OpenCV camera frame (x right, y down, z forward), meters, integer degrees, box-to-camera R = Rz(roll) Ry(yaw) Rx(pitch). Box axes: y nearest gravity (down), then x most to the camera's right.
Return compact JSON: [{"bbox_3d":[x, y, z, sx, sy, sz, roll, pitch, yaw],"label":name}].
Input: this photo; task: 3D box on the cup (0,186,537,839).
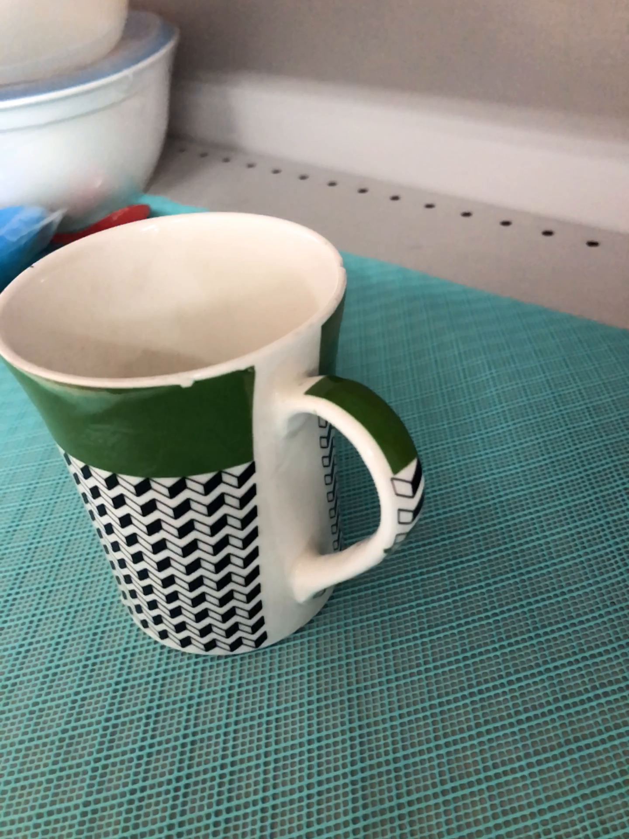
[{"bbox_3d":[-0.020,0.014,0.172,0.110,0.099,0.080,20,45,28],"label":"cup"}]
